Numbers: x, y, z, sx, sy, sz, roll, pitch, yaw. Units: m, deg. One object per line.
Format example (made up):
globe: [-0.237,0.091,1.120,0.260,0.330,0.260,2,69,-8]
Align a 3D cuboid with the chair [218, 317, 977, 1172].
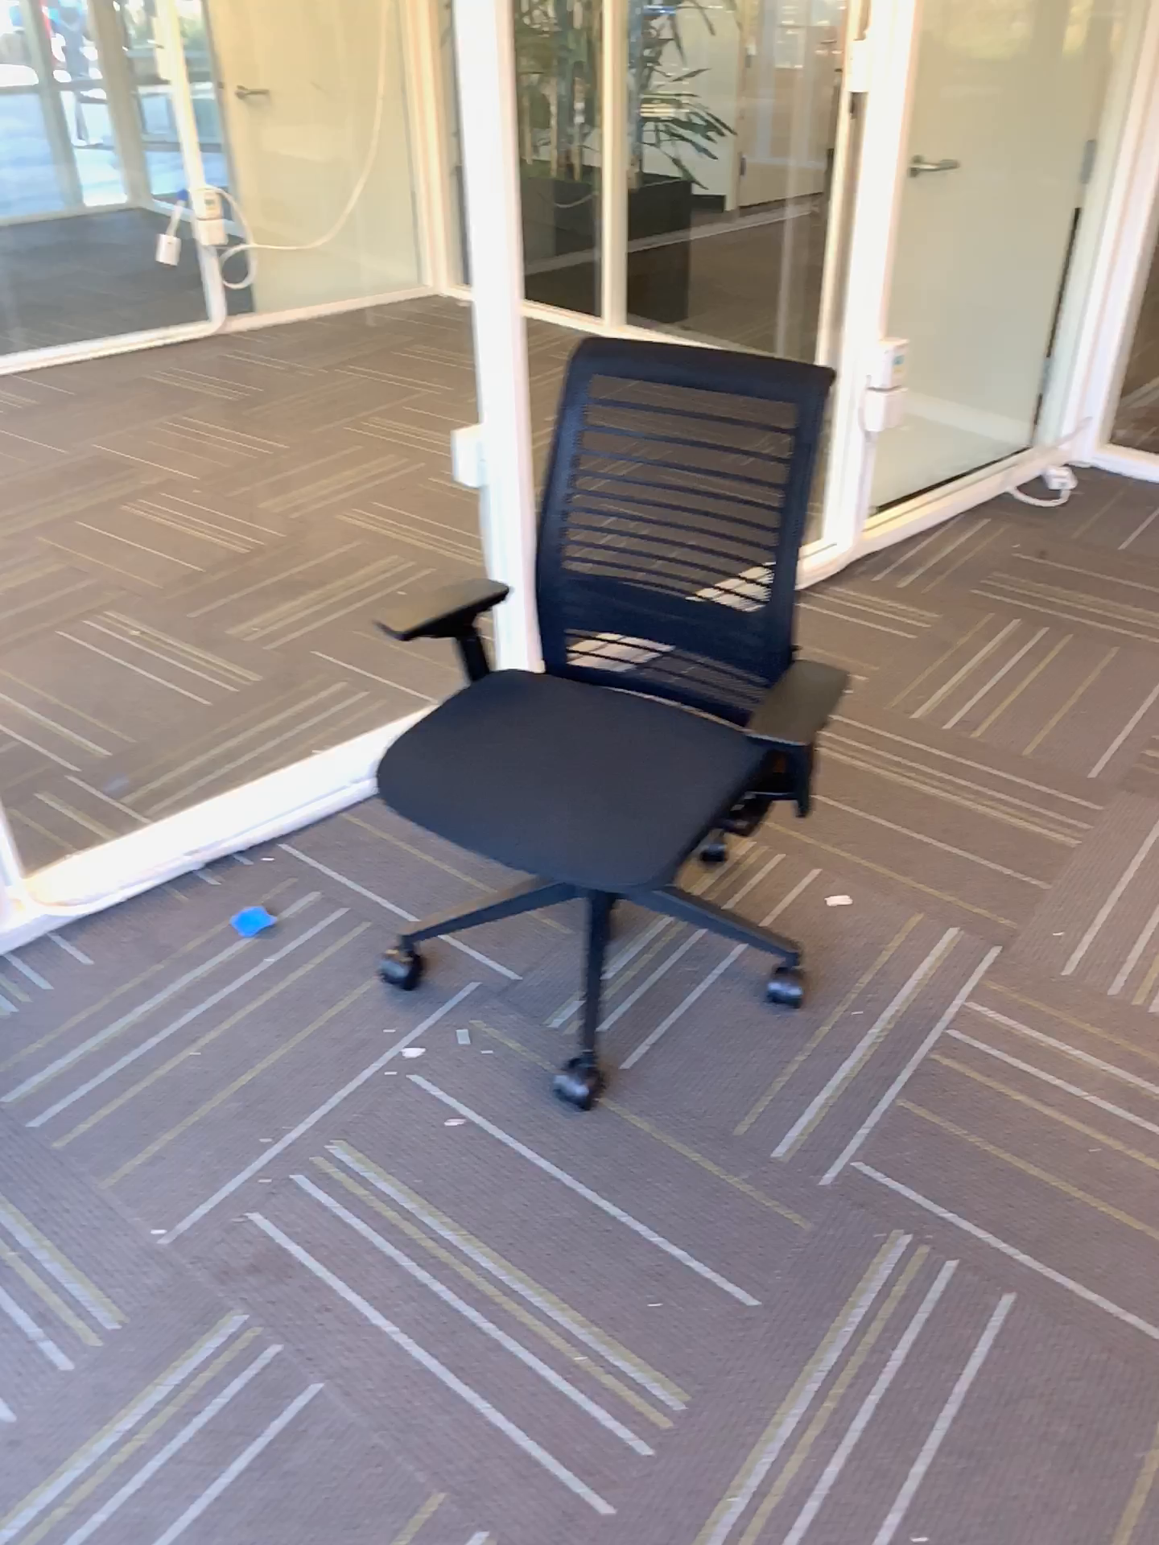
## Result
chair: [0.053,-0.102,1.747,0.692,0.874,0.713,20,39,28]
